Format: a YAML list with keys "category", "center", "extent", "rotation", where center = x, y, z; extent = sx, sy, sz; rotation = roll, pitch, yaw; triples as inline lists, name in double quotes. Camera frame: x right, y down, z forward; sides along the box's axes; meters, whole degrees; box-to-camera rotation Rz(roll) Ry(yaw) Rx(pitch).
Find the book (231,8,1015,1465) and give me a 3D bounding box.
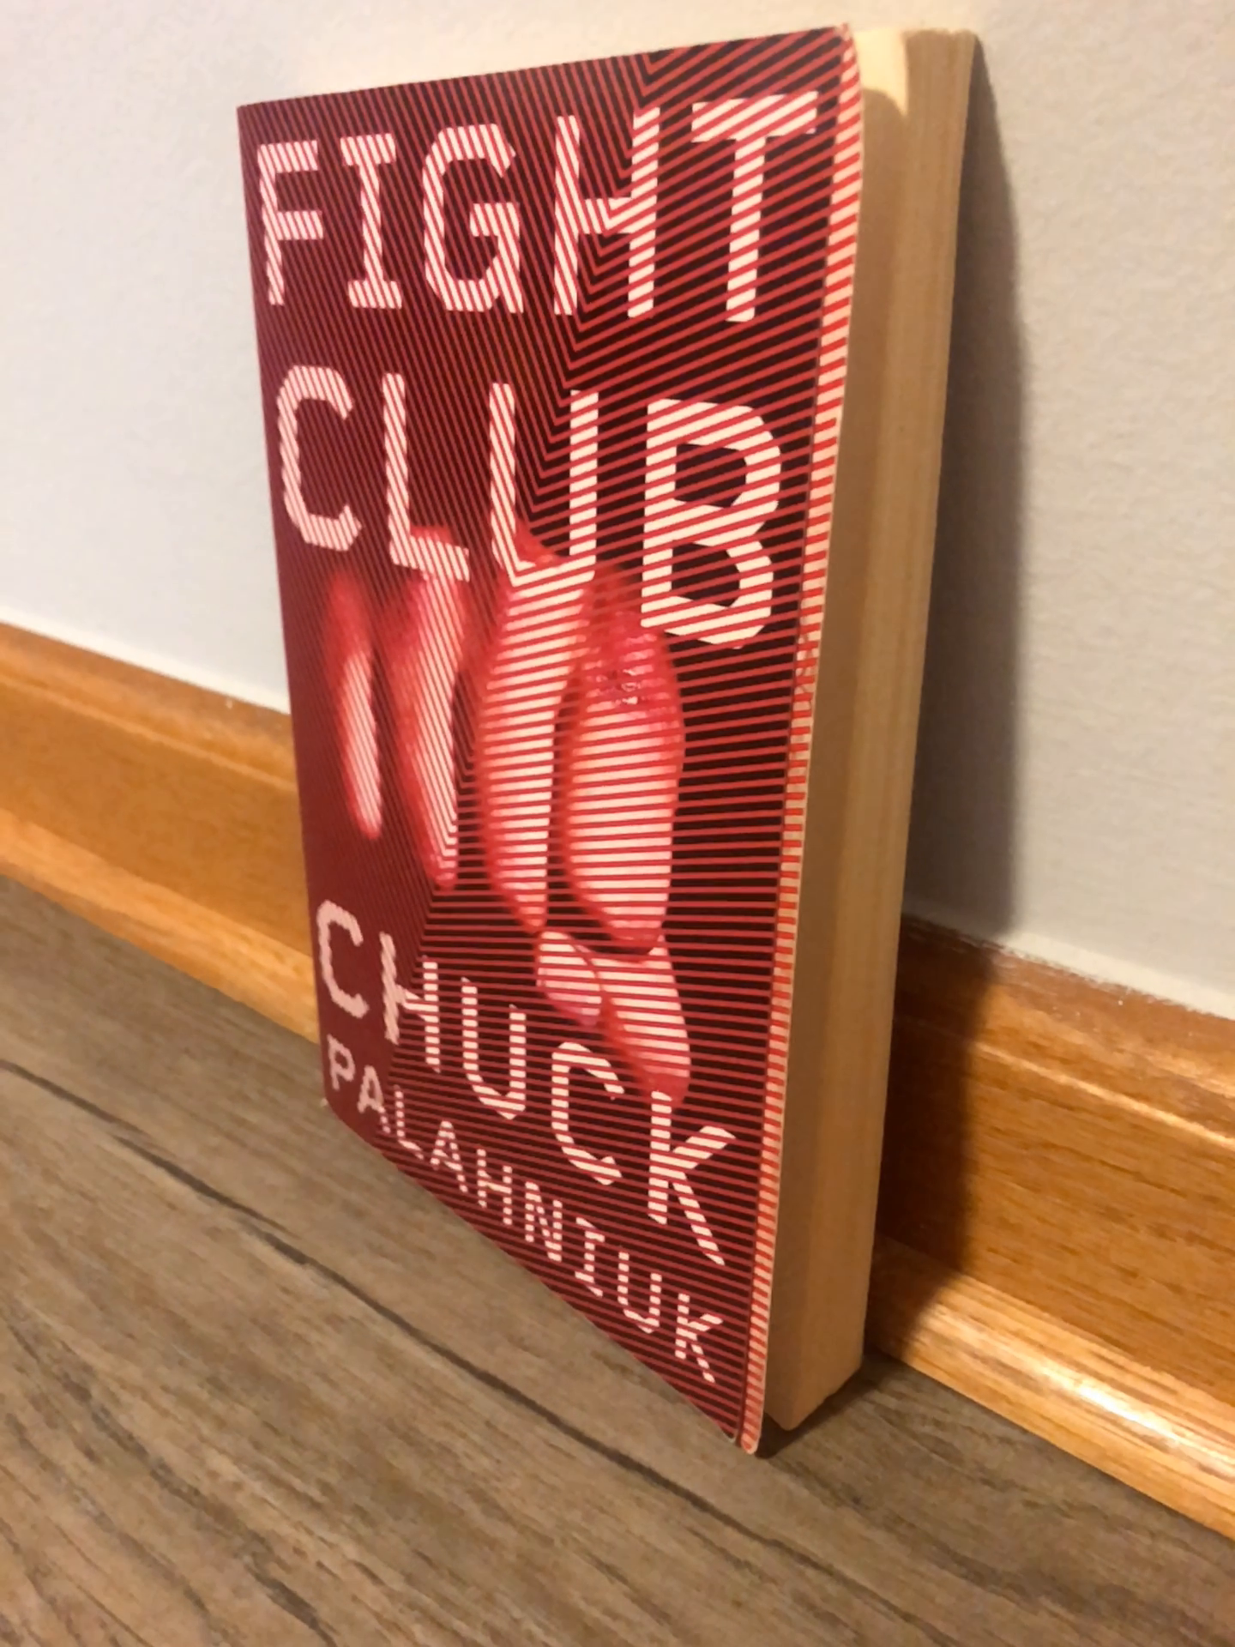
- category: "book"
  center: [-0.010, -0.015, 0.246]
  extent: [0.030, 0.210, 0.138]
  rotation: [-19, 29, -40]
